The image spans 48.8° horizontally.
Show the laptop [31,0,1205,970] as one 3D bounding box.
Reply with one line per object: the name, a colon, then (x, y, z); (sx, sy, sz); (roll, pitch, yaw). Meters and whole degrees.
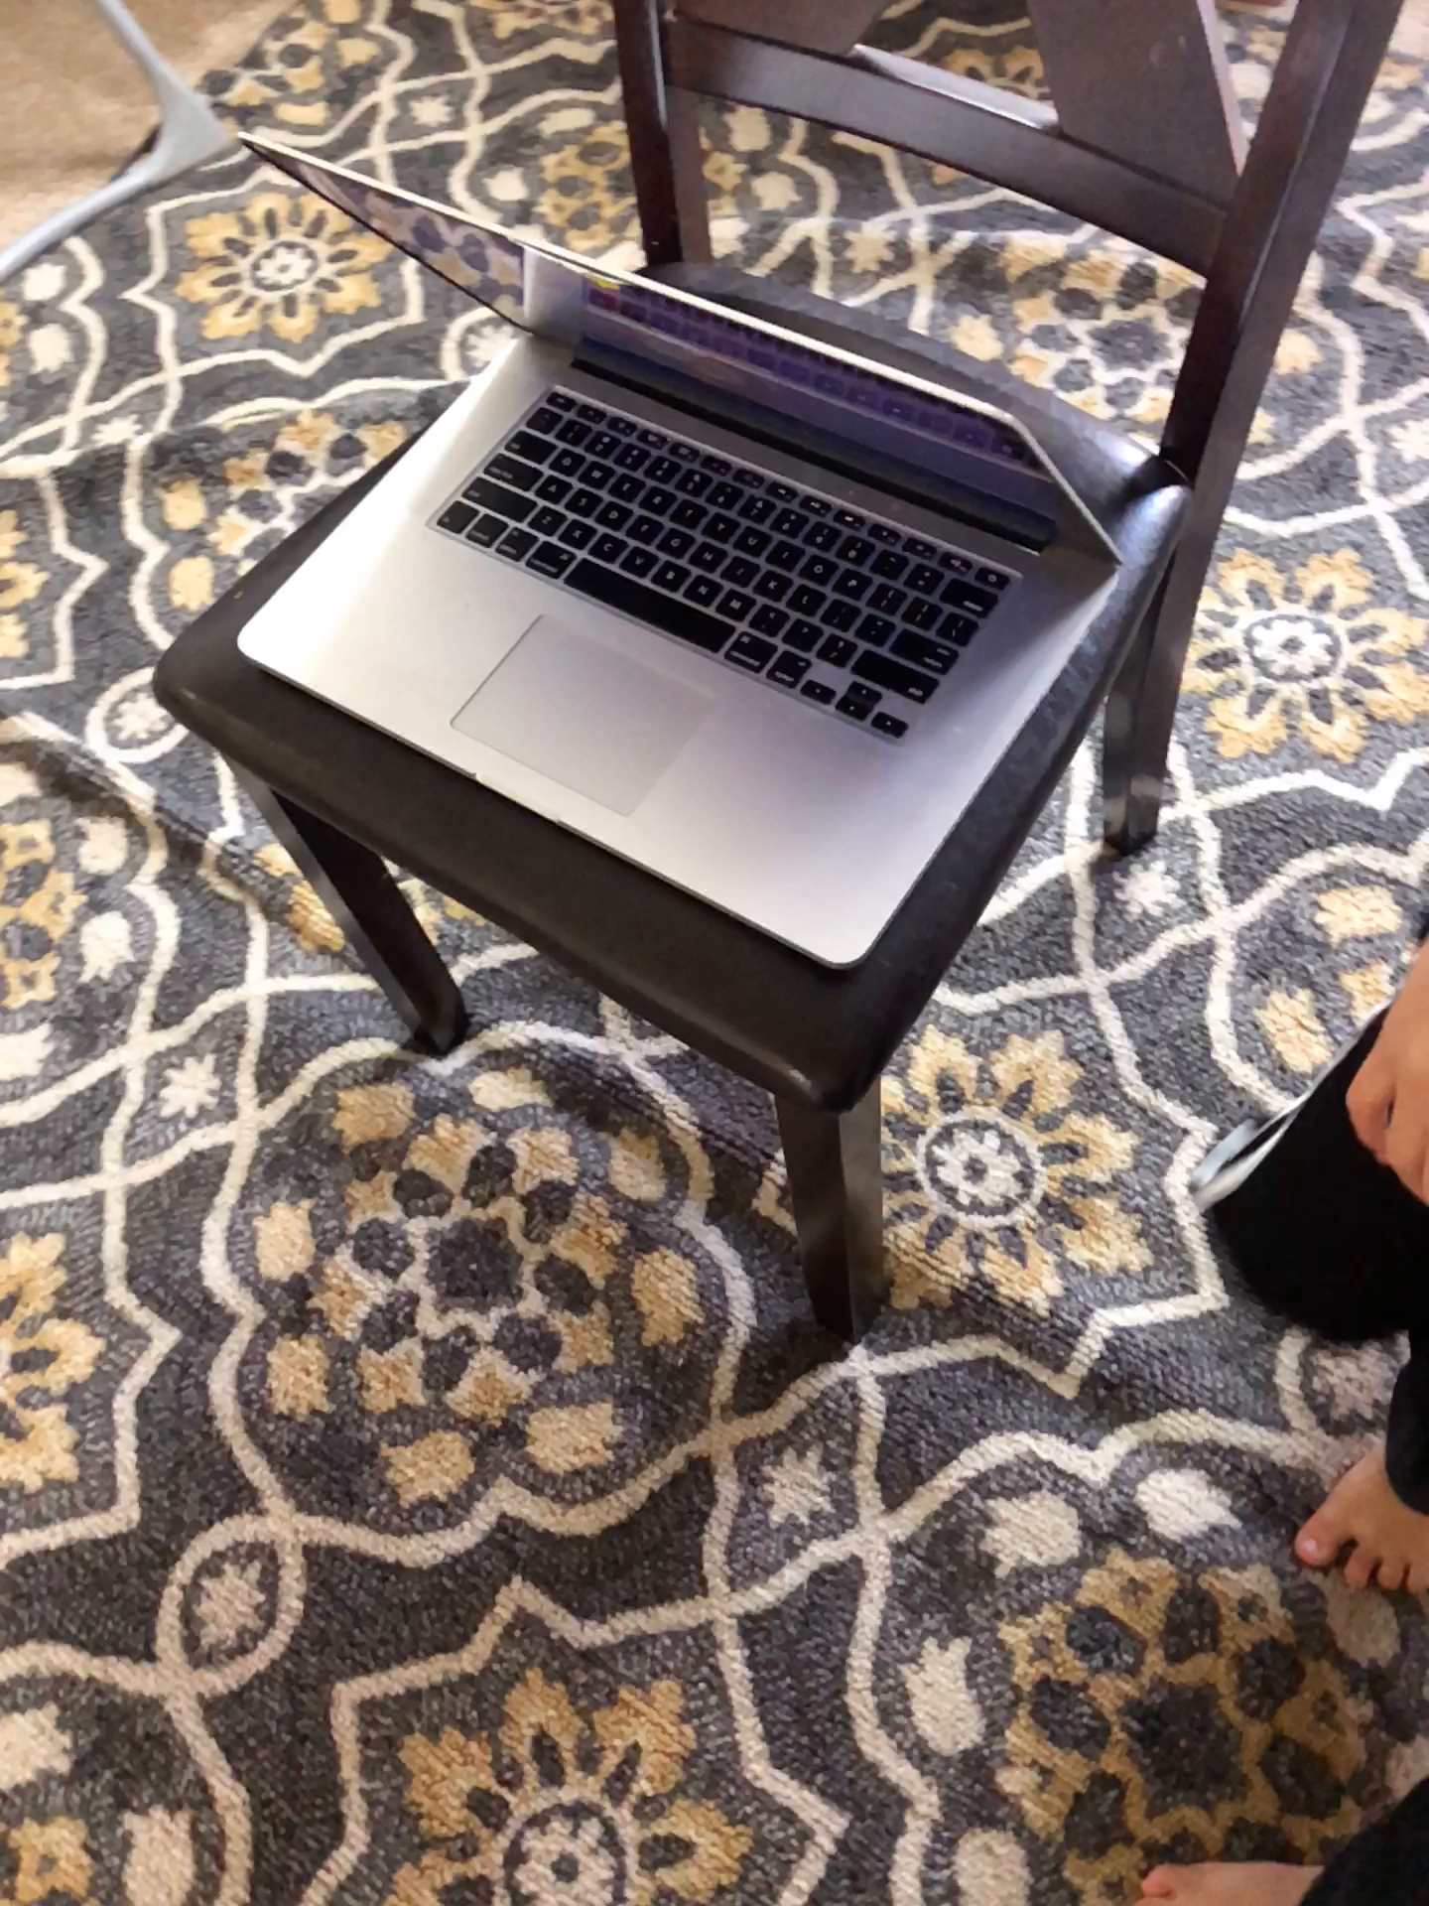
laptop: (-0.032, -0.206, 0.654); (0.351, 0.200, 0.237); (28, 68, 19)
